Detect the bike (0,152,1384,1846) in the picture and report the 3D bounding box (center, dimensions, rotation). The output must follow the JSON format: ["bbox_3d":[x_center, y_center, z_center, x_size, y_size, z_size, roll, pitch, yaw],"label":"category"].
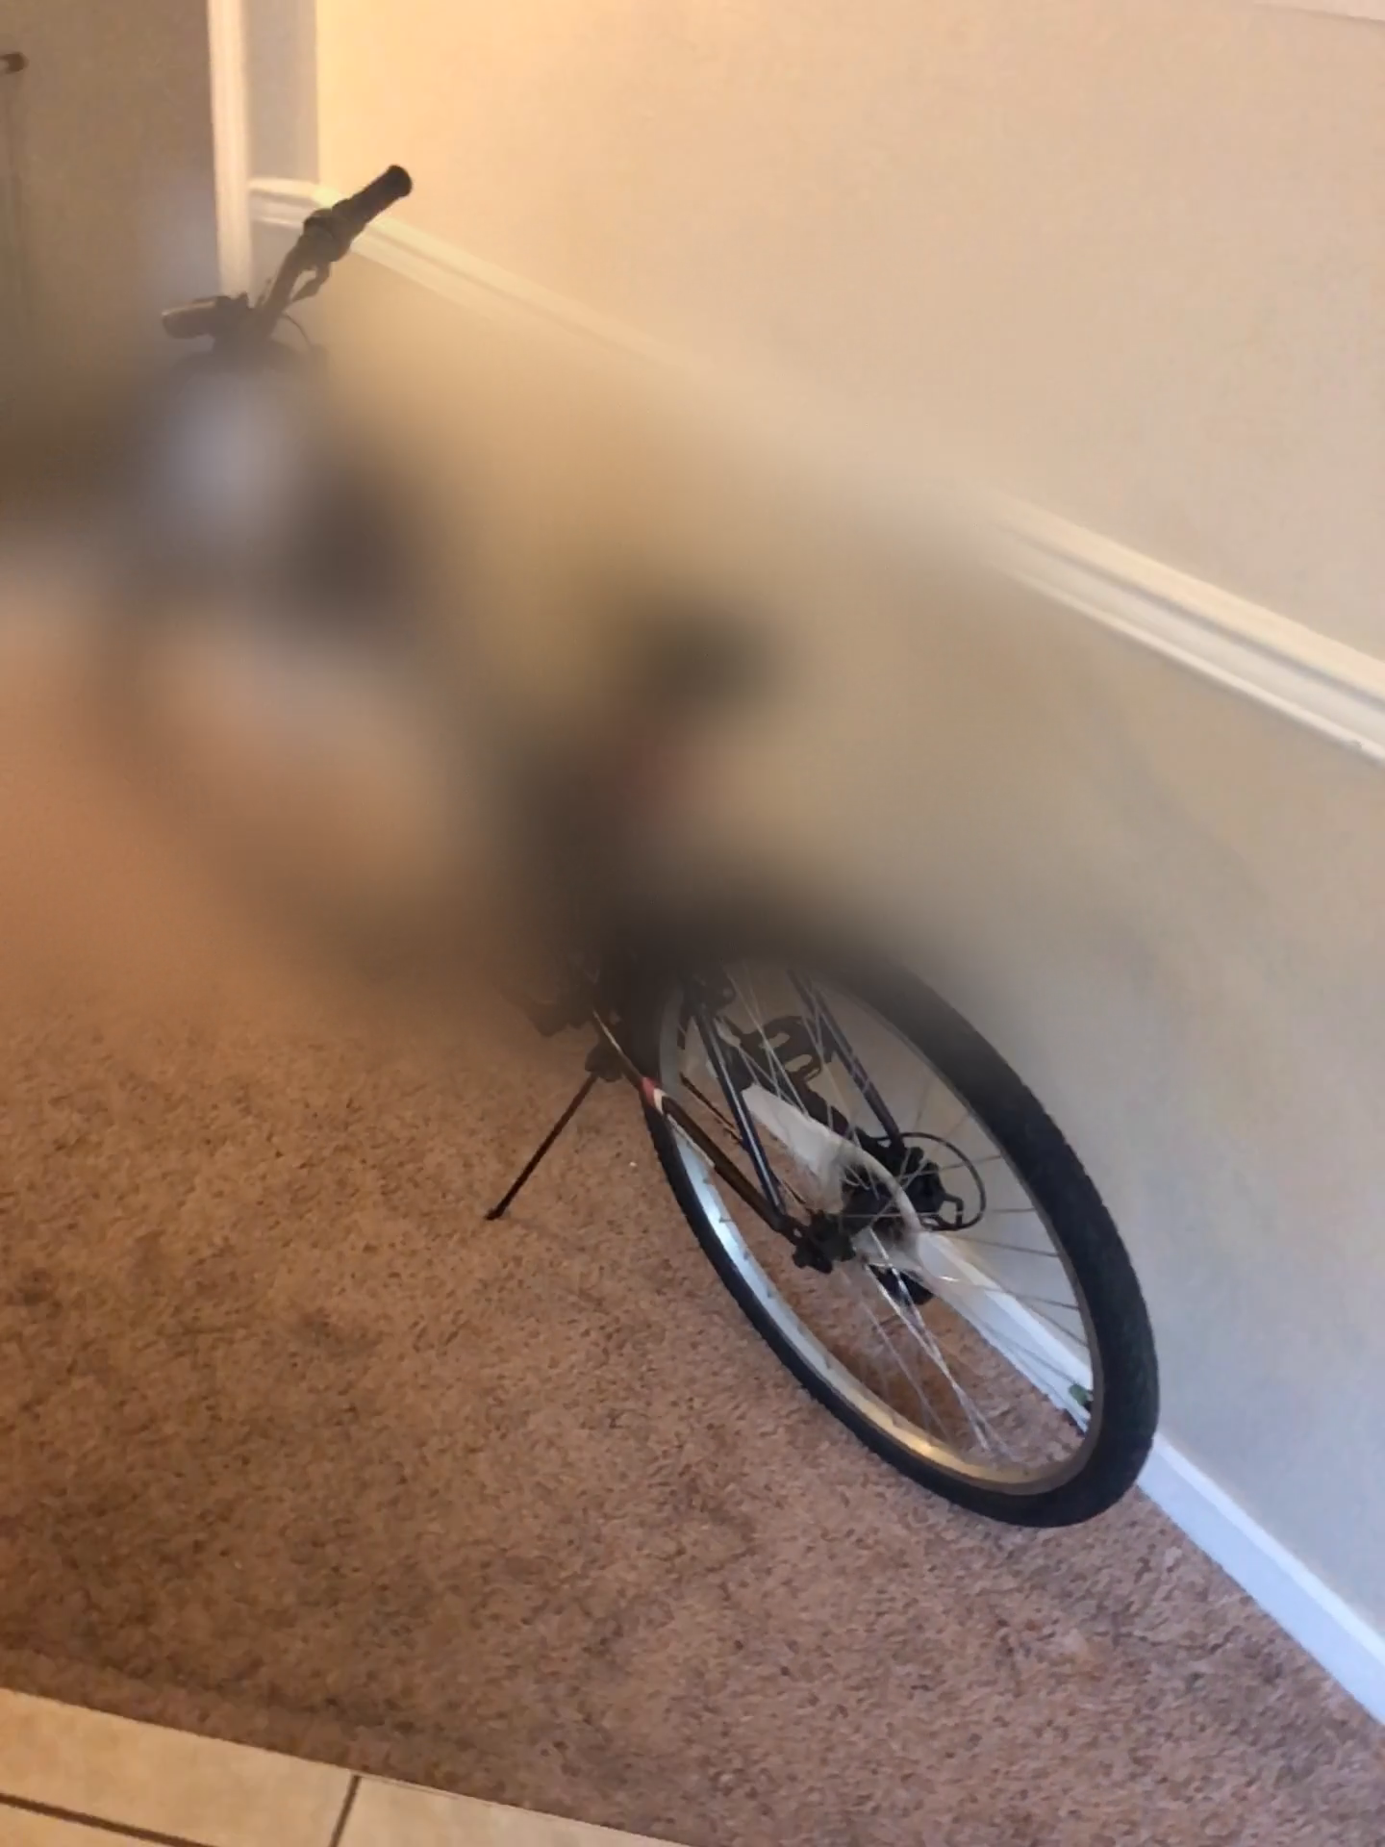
[{"bbox_3d":[-0.273,-0.083,1.753,0.681,1.177,1.869,-25,44,-39],"label":"bike"}]
